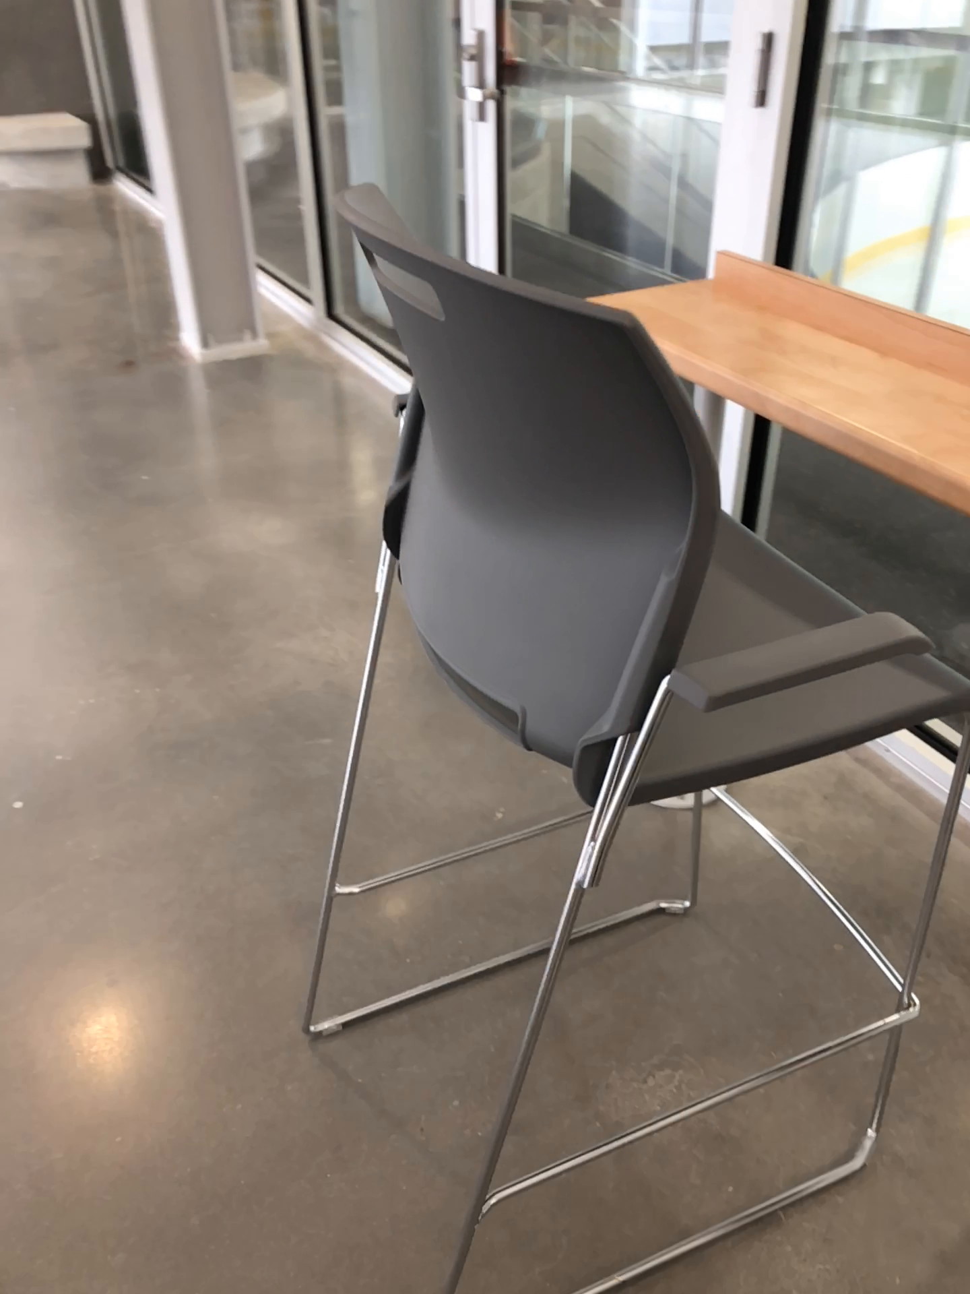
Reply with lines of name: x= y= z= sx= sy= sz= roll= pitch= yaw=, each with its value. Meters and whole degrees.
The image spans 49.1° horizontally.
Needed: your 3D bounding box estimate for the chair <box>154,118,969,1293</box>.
chair: x=0.146 y=0.108 z=1.088 sx=0.661 sy=1.072 sz=0.604 roll=-15 pitch=35 yaw=-21
